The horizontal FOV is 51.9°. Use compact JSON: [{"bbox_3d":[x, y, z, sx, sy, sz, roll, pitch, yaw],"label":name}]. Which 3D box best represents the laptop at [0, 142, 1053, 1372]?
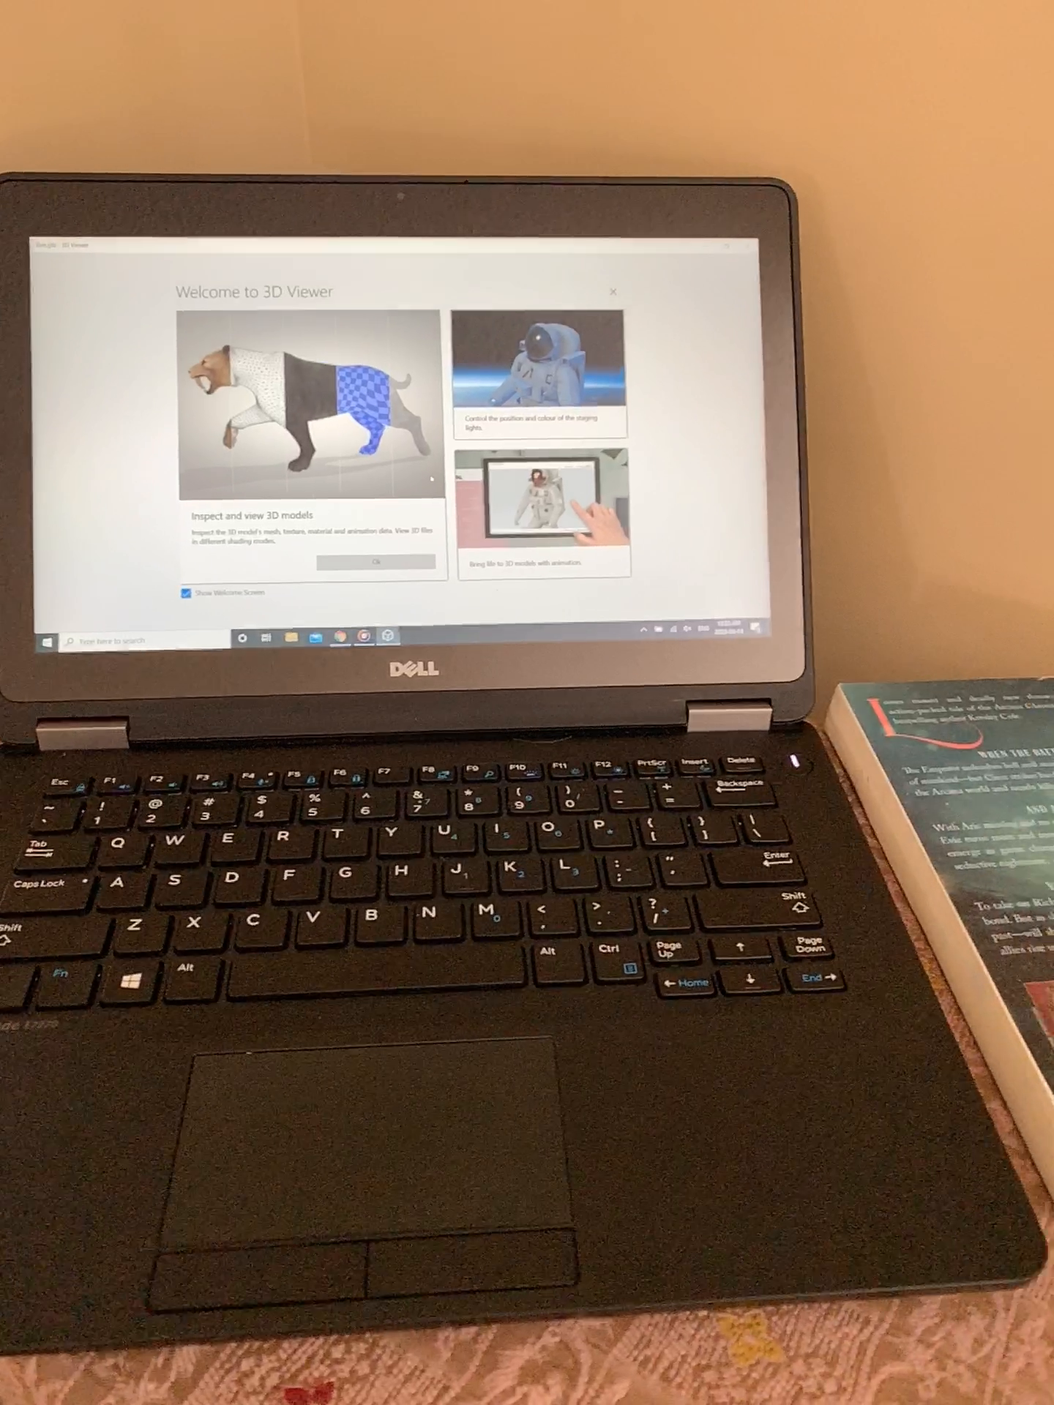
[{"bbox_3d":[-0.044,-0.046,0.403,0.365,0.186,0.424,-2,41,-4],"label":"laptop"}]
